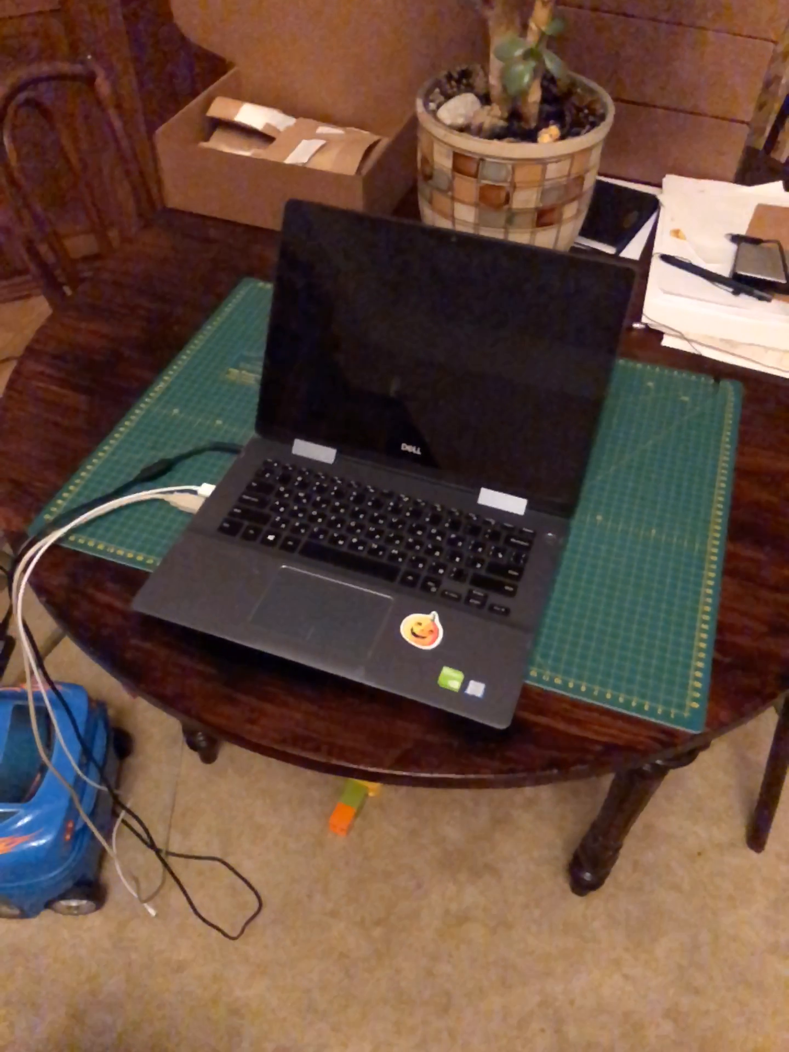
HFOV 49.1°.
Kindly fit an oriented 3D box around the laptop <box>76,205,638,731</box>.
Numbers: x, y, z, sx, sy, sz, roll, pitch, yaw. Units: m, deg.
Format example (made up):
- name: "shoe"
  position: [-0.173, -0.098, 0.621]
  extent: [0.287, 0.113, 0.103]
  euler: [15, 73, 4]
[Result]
- name: "laptop"
  position: [-0.006, -0.071, 0.719]
  extent: [0.320, 0.192, 0.339]
  euler: [16, 49, 13]
